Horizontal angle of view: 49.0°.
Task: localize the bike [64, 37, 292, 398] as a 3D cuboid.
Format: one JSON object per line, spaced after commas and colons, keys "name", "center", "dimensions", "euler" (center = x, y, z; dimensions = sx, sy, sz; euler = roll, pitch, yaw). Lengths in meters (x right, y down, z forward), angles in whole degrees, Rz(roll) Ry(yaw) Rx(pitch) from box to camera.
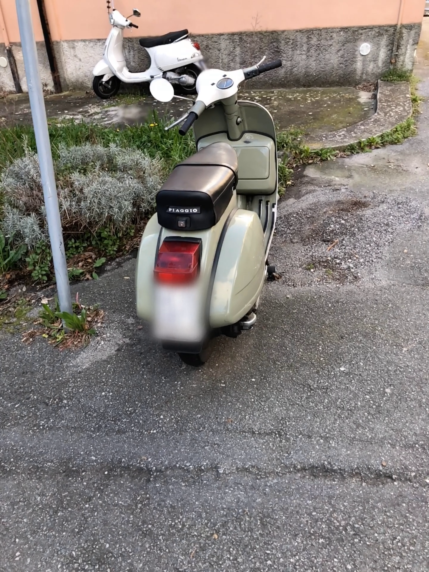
{"name": "bike", "center": [-0.006, -0.450, 2.155], "dimensions": [0.621, 1.027, 1.449], "euler": [4, 34, 8]}
